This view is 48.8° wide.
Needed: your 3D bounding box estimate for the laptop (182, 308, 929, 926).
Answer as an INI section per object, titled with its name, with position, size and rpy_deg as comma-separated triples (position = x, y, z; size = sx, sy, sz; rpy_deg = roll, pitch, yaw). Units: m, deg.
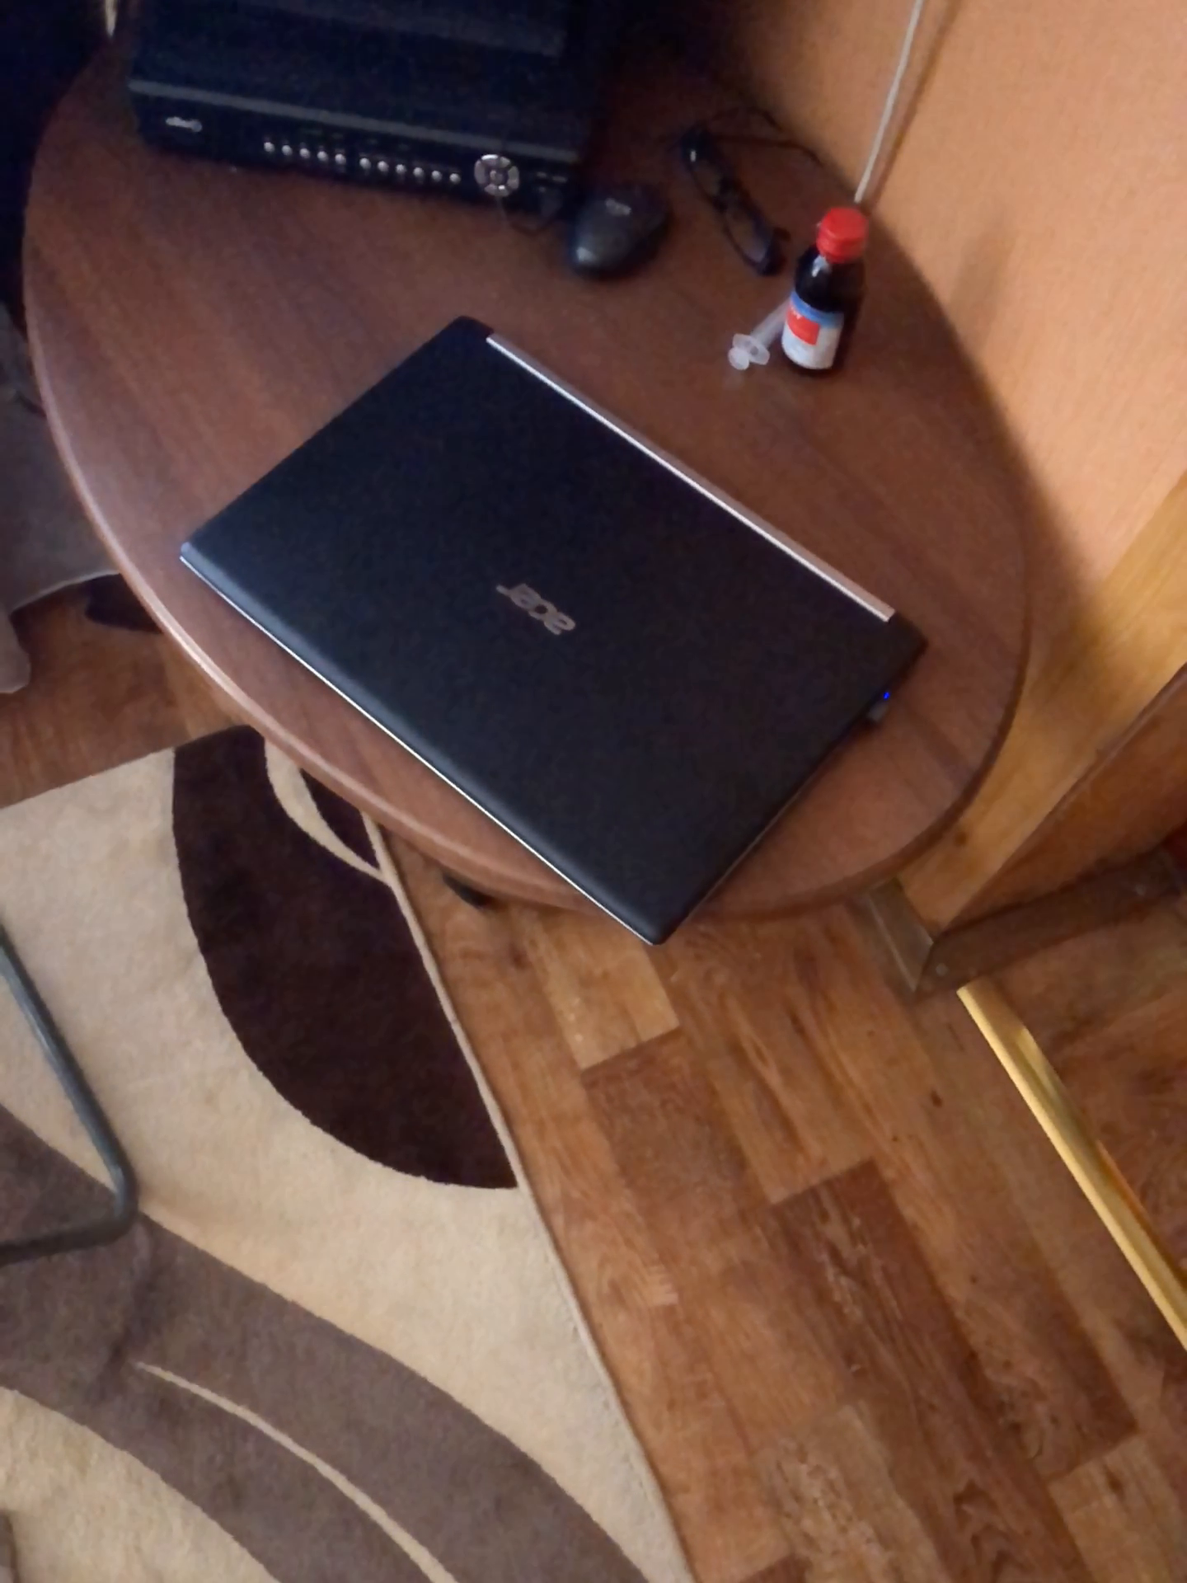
[laptop]
position = -0.024, -0.121, 0.763
size = 0.363, 0.004, 0.240
rpy_deg = 39, 70, 14
